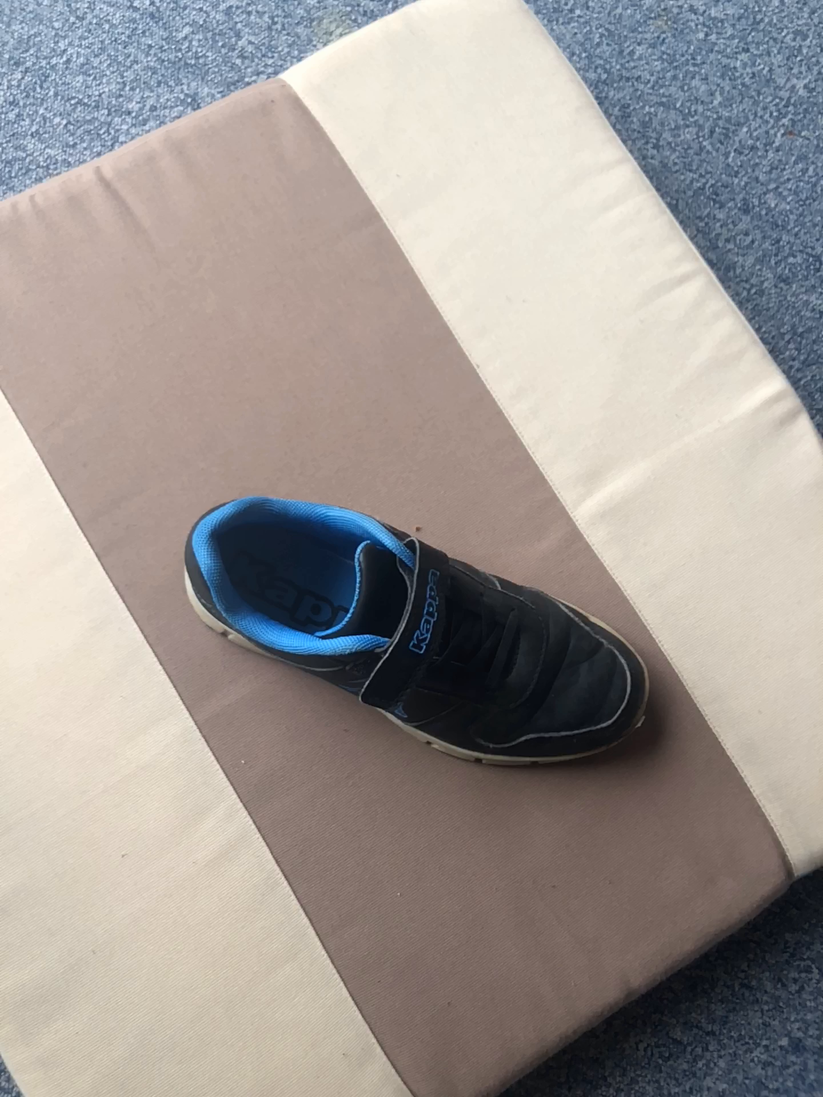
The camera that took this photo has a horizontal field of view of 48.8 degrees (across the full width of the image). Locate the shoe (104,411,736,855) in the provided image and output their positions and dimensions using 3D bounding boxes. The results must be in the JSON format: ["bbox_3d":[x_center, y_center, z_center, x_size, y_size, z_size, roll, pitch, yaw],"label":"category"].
[{"bbox_3d":[0.004,0.040,0.417,0.240,0.090,0.100,22,80,-1],"label":"shoe"}]
